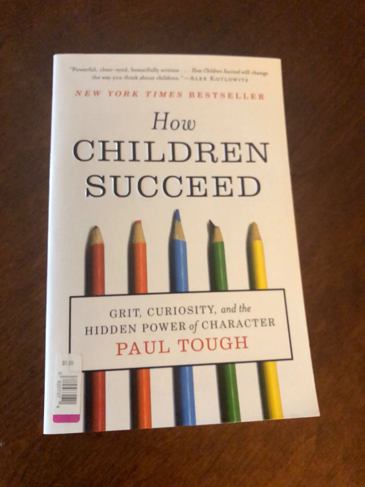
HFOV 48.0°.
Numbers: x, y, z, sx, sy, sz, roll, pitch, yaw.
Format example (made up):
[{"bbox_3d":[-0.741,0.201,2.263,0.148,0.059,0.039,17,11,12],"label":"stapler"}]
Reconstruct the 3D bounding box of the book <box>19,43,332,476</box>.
[{"bbox_3d":[-0.006,-0.002,0.219,0.140,0.030,0.210,-1,78,-6],"label":"book"}]
